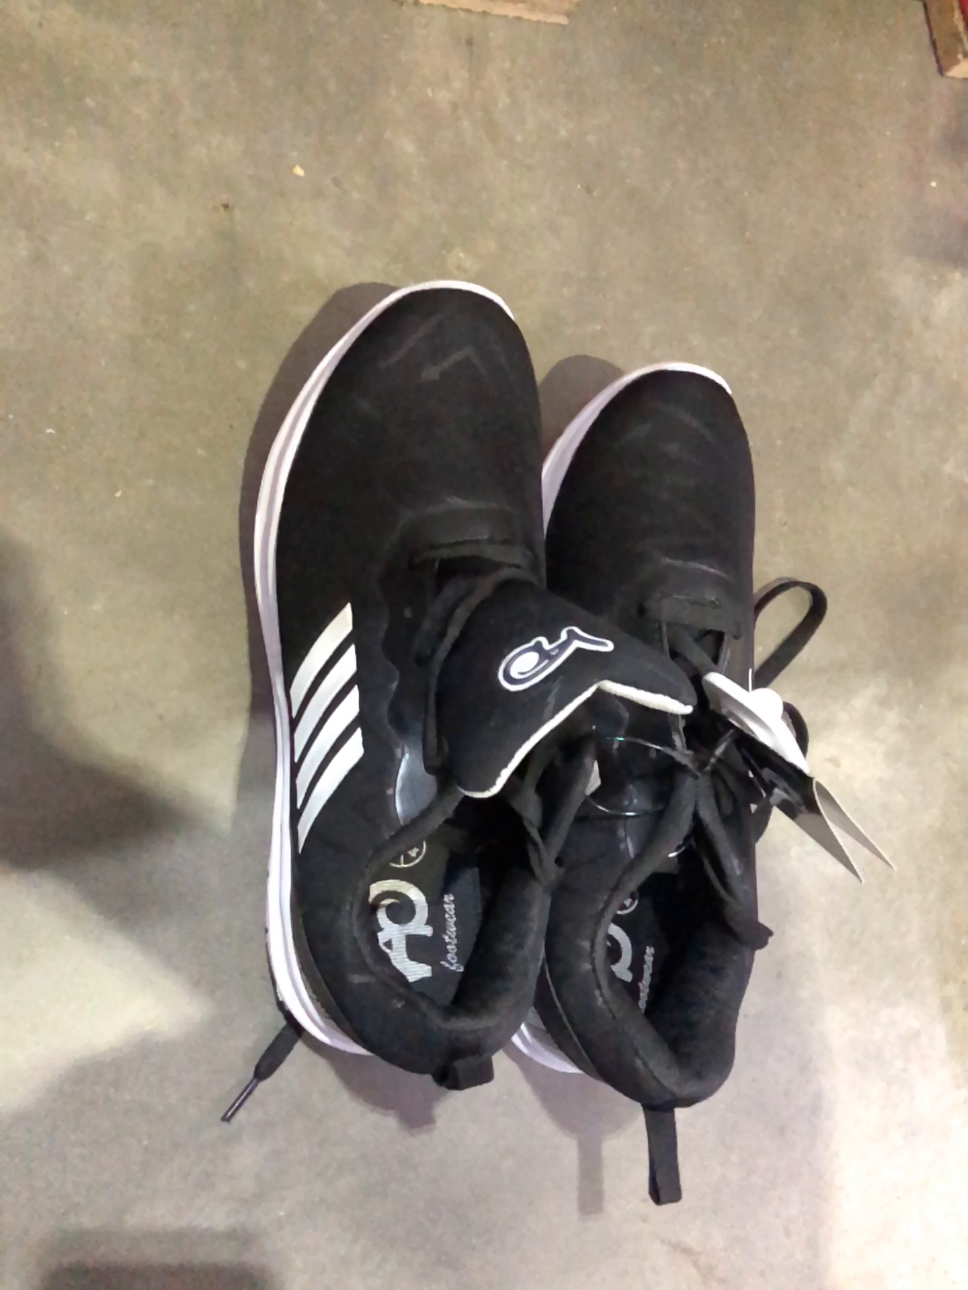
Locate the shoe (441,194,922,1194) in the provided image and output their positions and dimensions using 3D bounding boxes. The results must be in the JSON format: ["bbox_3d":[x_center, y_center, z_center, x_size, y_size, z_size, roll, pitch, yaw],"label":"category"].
[{"bbox_3d":[0.075,0.019,0.416,0.110,0.130,0.320,10,78,-21],"label":"shoe"}]

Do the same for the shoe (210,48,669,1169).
[{"bbox_3d":[-0.021,-0.011,0.391,0.120,0.130,0.330,4,81,-22],"label":"shoe"}]
